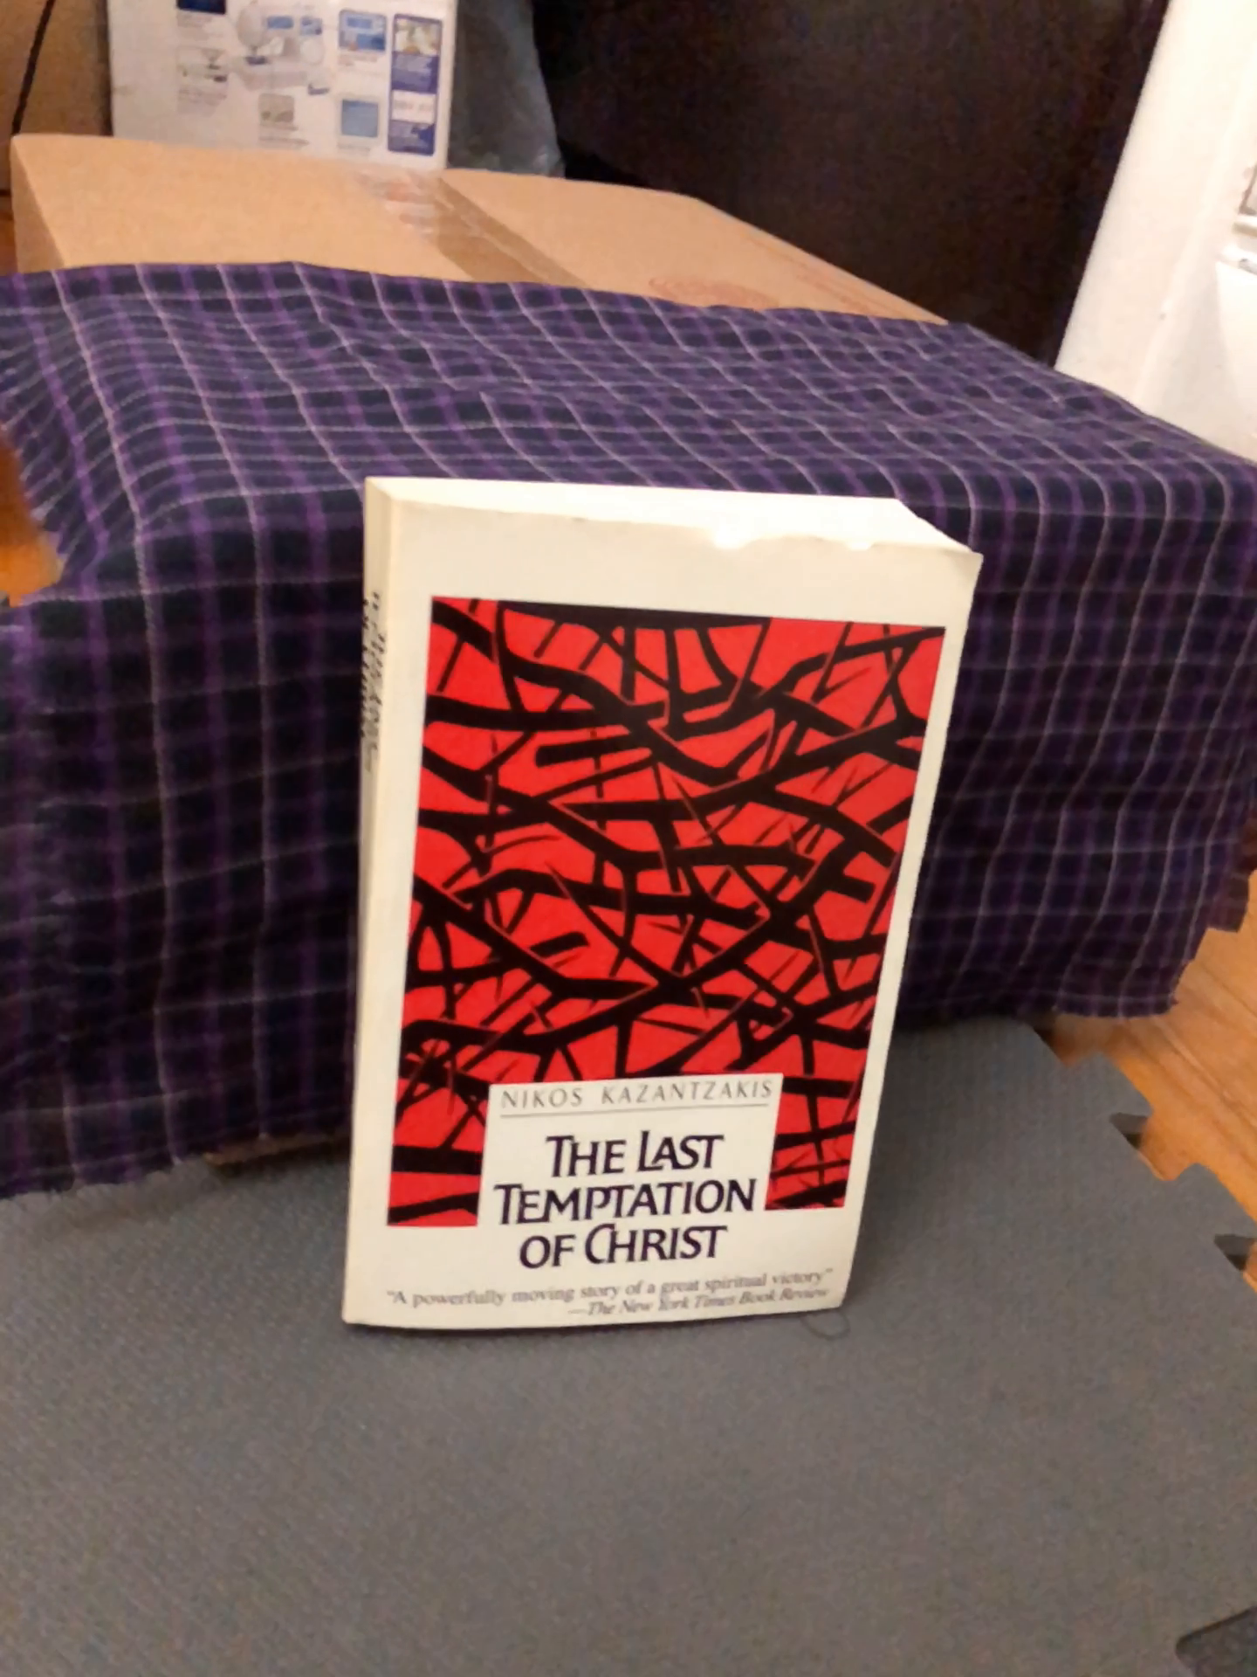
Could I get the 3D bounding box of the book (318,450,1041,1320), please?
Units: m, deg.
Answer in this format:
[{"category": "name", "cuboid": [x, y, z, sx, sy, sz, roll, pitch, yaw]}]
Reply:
[{"category": "book", "cuboid": [0.004, 0.017, 0.346, 0.150, 0.209, 0.050, 1, 22, -7]}]
